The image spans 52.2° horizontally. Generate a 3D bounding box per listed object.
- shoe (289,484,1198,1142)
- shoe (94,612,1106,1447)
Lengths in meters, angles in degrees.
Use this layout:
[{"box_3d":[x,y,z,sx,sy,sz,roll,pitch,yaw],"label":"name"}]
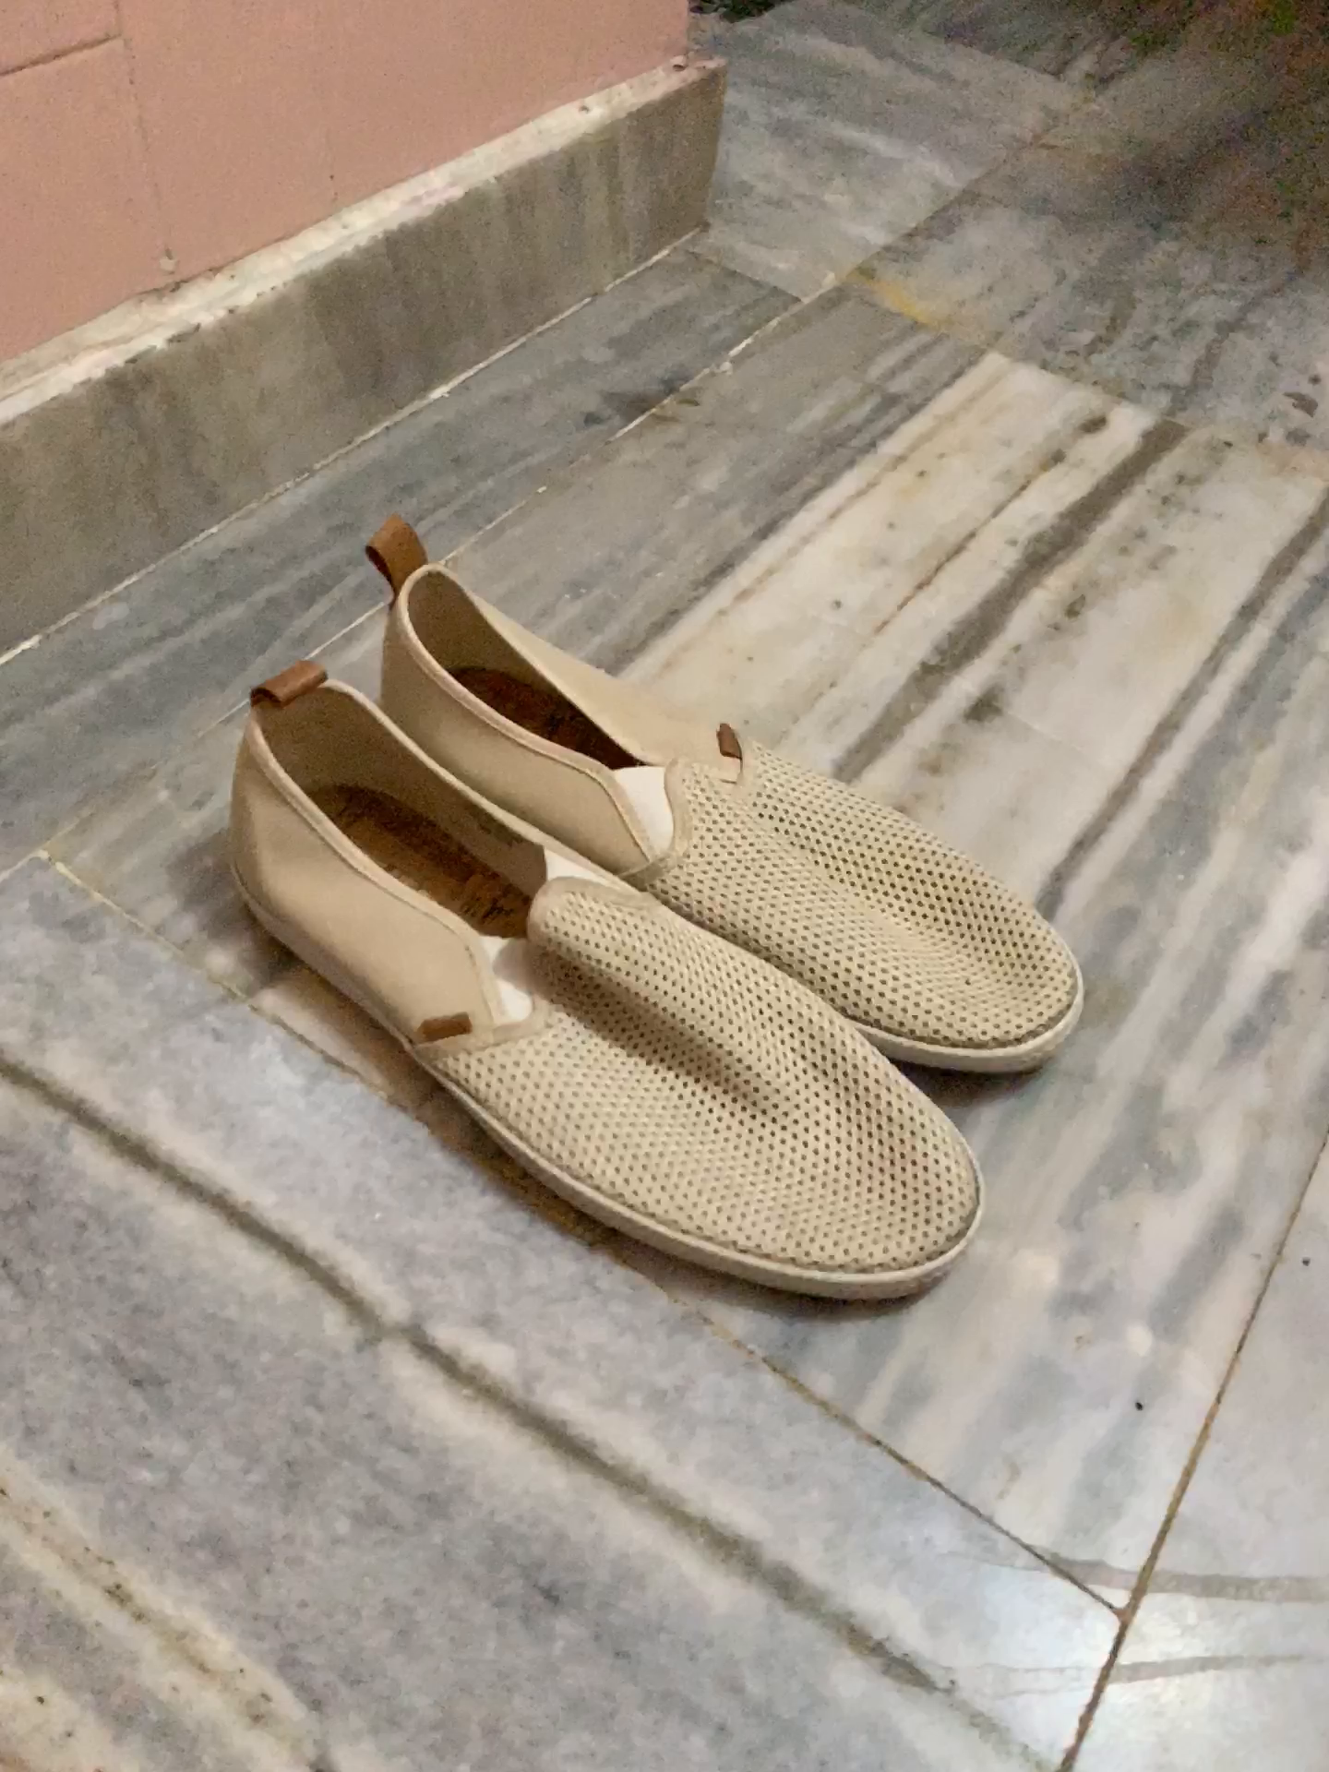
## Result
[{"box_3d":[0.022,-0.039,0.518,0.310,0.080,0.116,26,52,17],"label":"shoe"},{"box_3d":[-0.030,0.031,0.456,0.310,0.080,0.116,30,54,20],"label":"shoe"}]
